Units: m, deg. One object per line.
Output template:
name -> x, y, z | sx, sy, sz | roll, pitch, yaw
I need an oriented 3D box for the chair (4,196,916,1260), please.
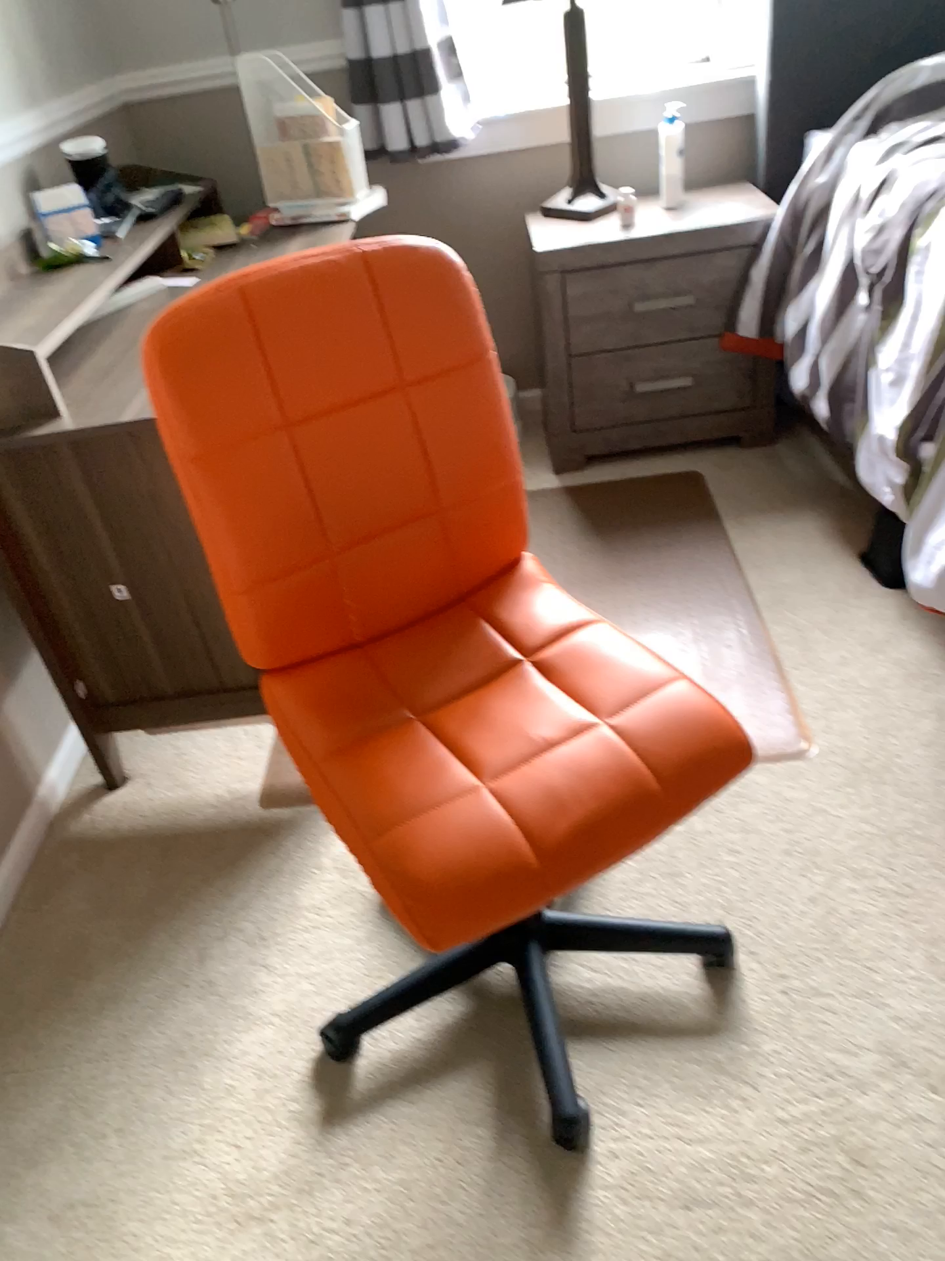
chair -> -0.005, 0.071, 1.140 | 0.615, 0.901, 0.620 | -25, 38, -22
